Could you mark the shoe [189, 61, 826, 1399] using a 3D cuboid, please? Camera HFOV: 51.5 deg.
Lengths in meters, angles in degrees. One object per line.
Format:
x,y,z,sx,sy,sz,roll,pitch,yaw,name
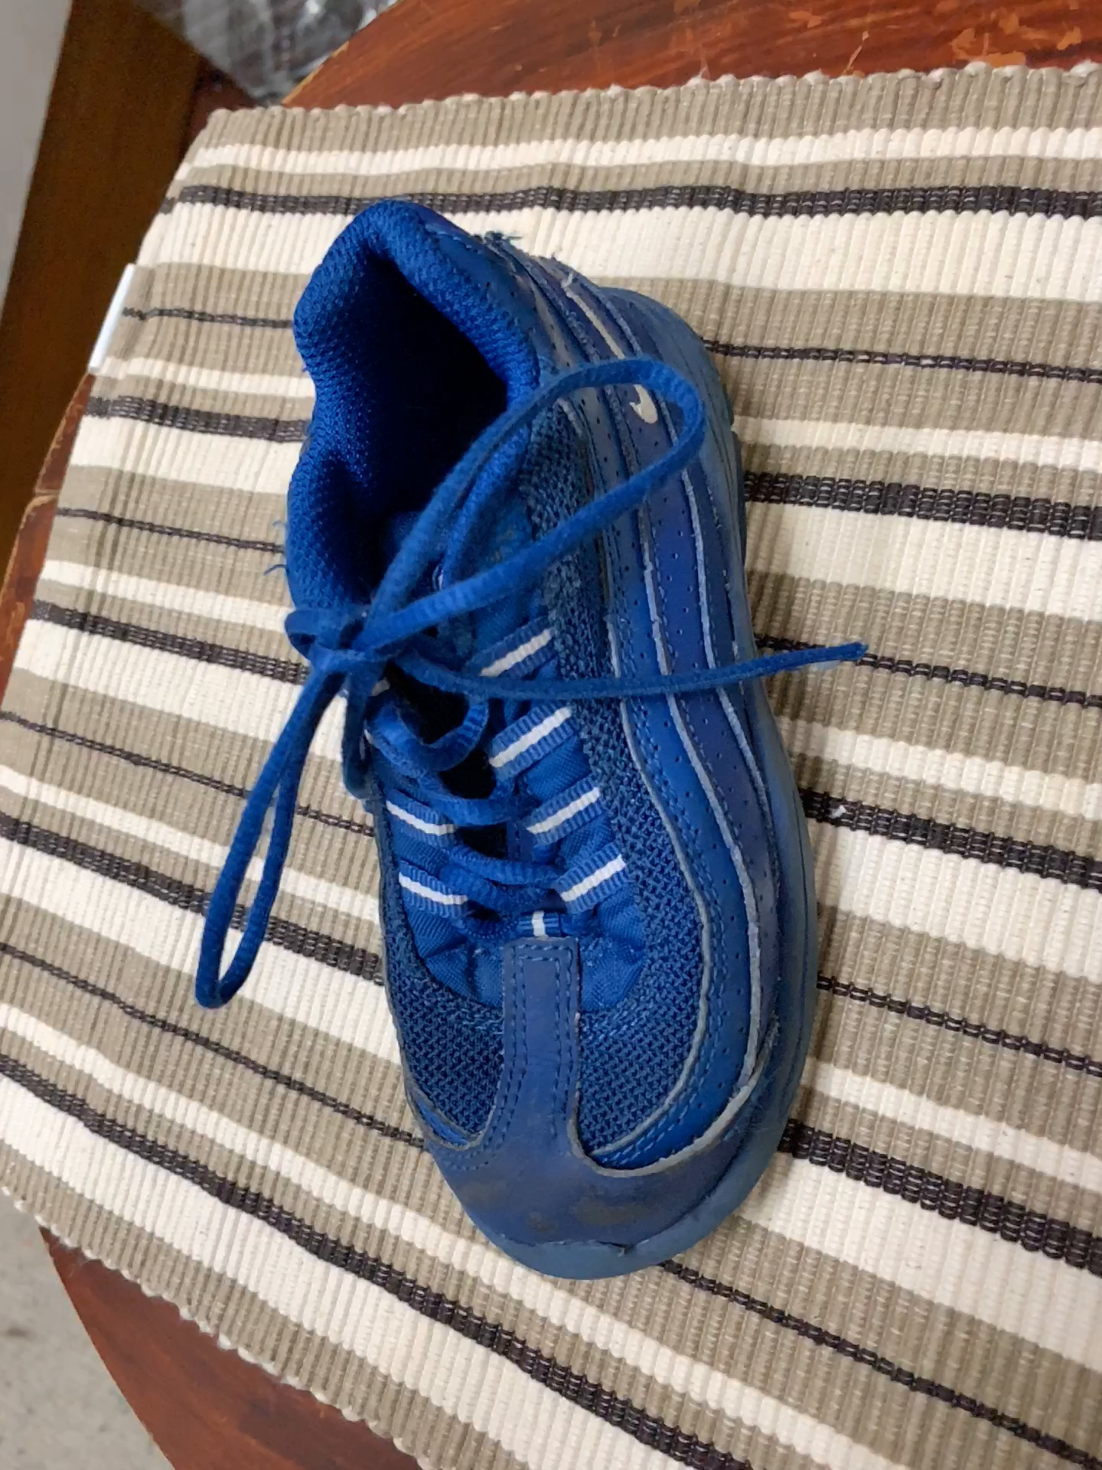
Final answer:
-0.001,-0.001,0.199,0.073,0.079,0.175,-4,79,27,shoe
